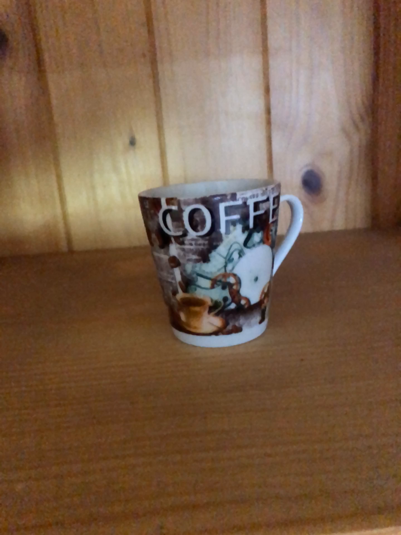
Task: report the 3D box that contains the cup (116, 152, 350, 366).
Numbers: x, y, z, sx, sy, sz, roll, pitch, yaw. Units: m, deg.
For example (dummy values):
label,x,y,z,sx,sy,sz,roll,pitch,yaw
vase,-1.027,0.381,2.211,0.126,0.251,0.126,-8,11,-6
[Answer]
label,x,y,z,sx,sy,sz,roll,pitch,yaw
cup,0.012,-0.011,0.196,0.080,0.070,0.060,-10,16,-18
